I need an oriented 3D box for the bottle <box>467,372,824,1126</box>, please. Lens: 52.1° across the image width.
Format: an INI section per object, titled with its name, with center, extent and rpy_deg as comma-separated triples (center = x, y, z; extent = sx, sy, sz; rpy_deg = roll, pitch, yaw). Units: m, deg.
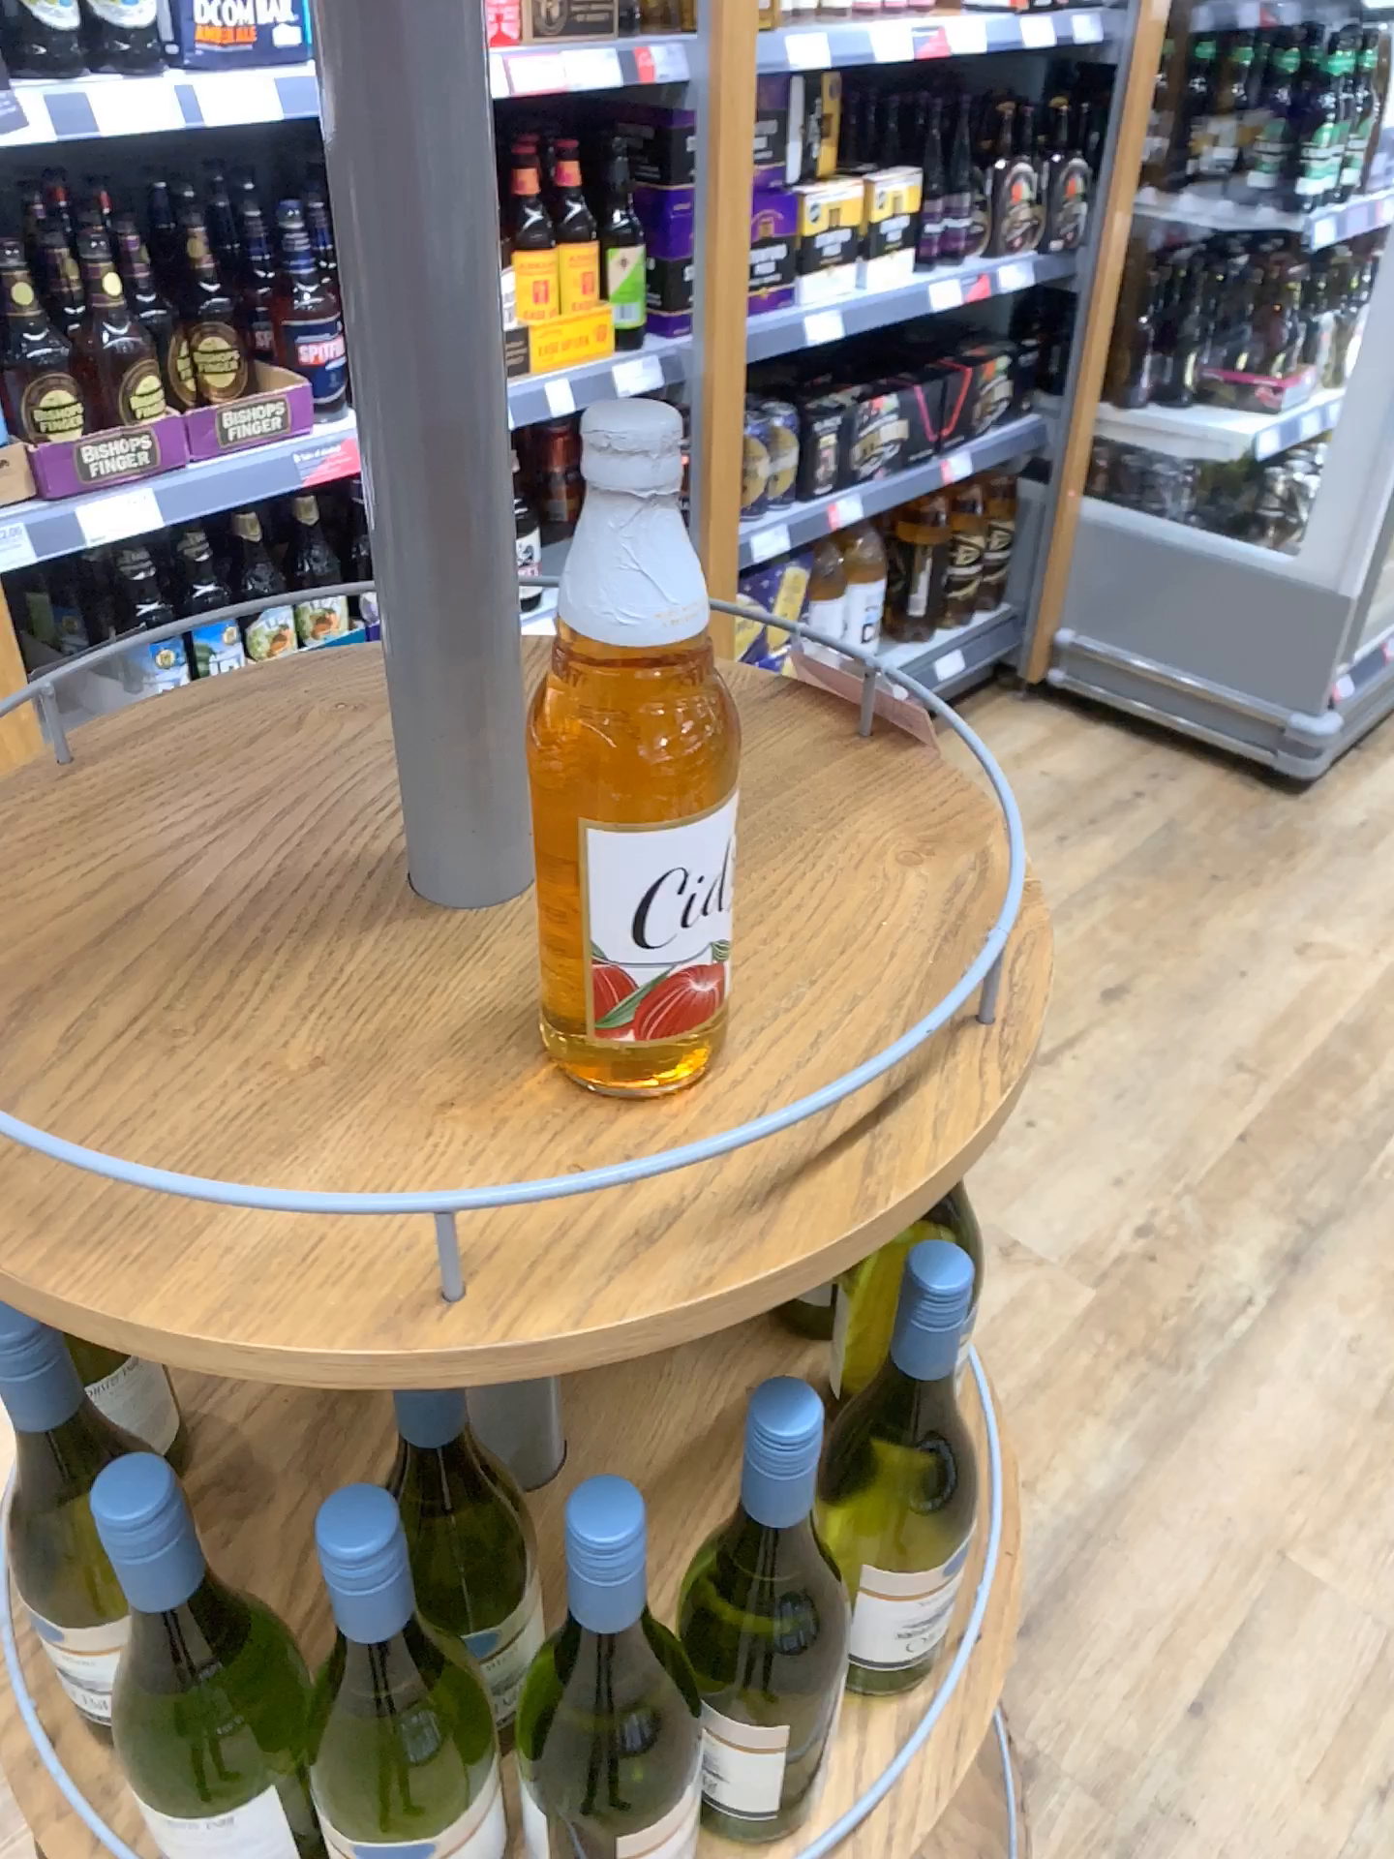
[bottle]
center = -0.017, -0.052, 0.456
extent = 0.070, 0.218, 0.069
rpy_deg = 1, 36, -1
